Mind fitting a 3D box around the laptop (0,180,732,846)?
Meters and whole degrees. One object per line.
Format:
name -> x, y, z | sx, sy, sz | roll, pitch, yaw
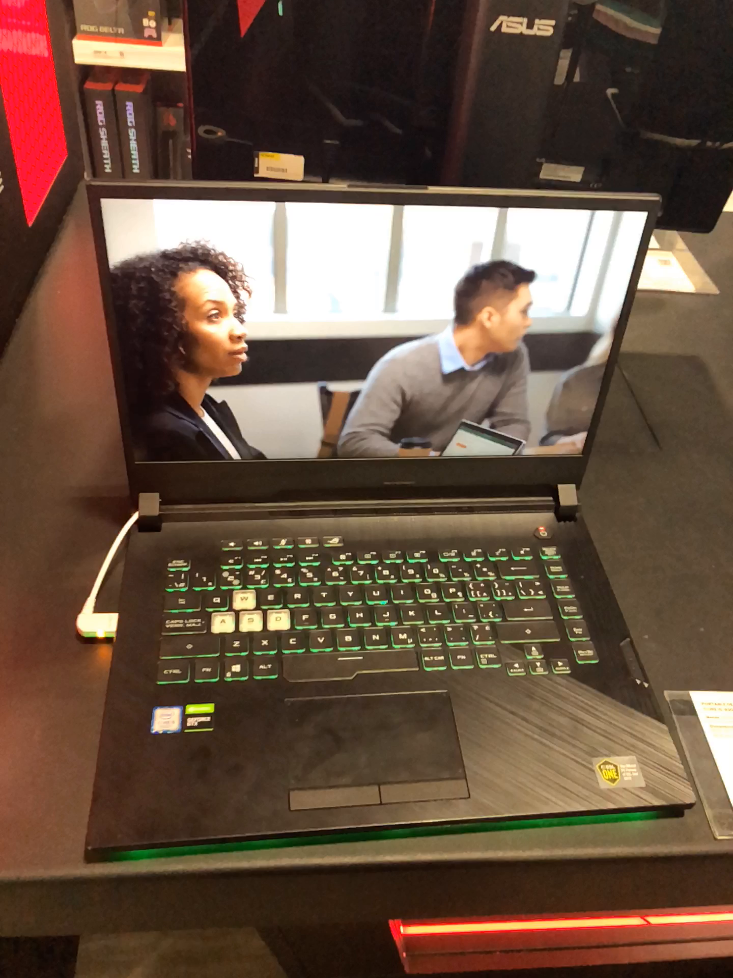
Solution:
laptop -> 0.020, 0.009, 0.491 | 0.360, 0.268, 0.276 | -1, 44, -8
